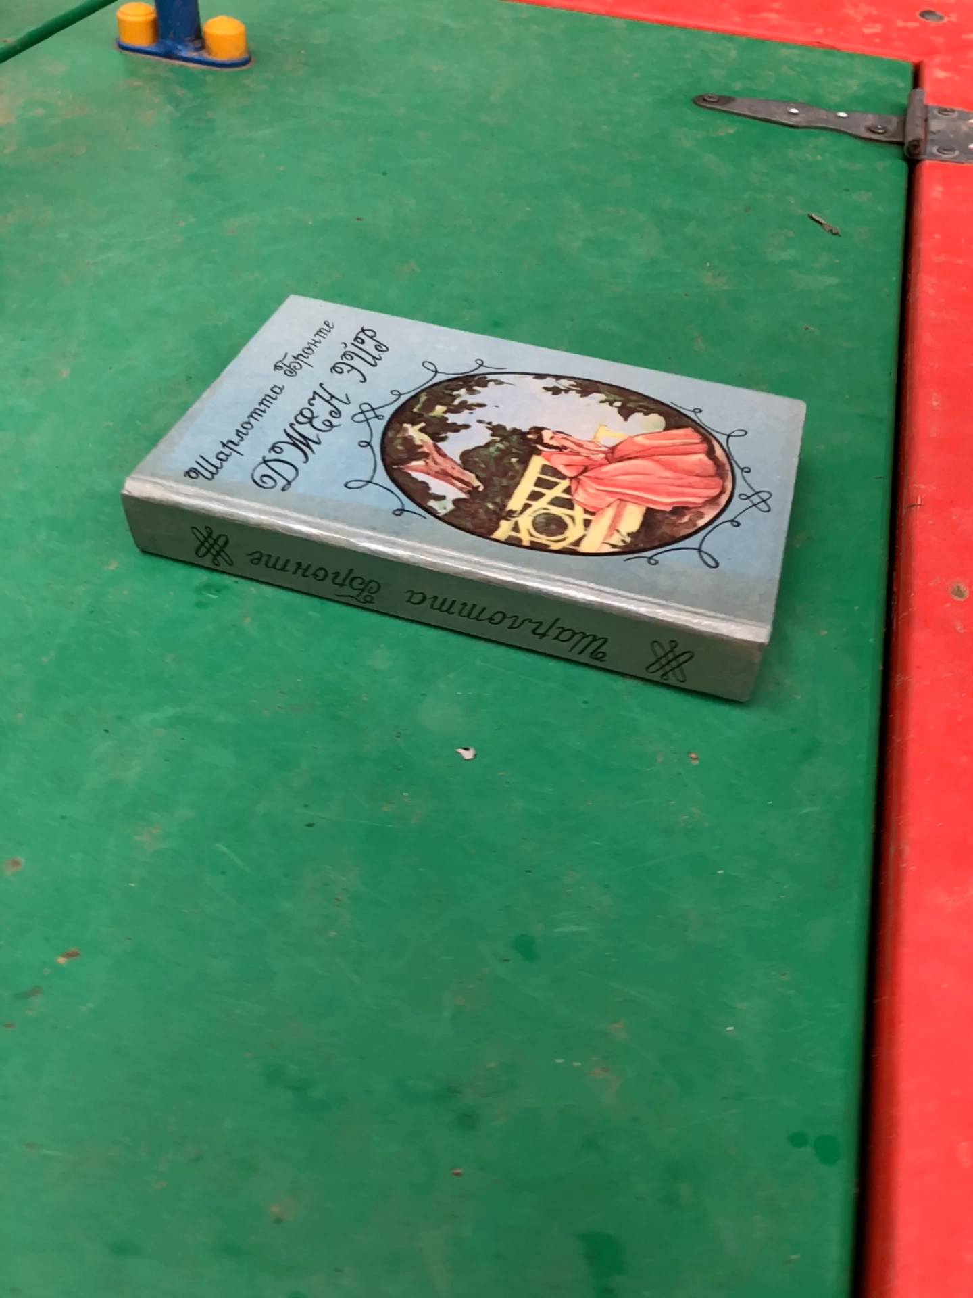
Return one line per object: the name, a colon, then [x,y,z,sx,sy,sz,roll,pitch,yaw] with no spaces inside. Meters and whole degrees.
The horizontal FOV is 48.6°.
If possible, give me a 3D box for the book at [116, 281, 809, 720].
book: [0.002,-0.060,0.362,0.196,0.030,0.136,14,46,8]
